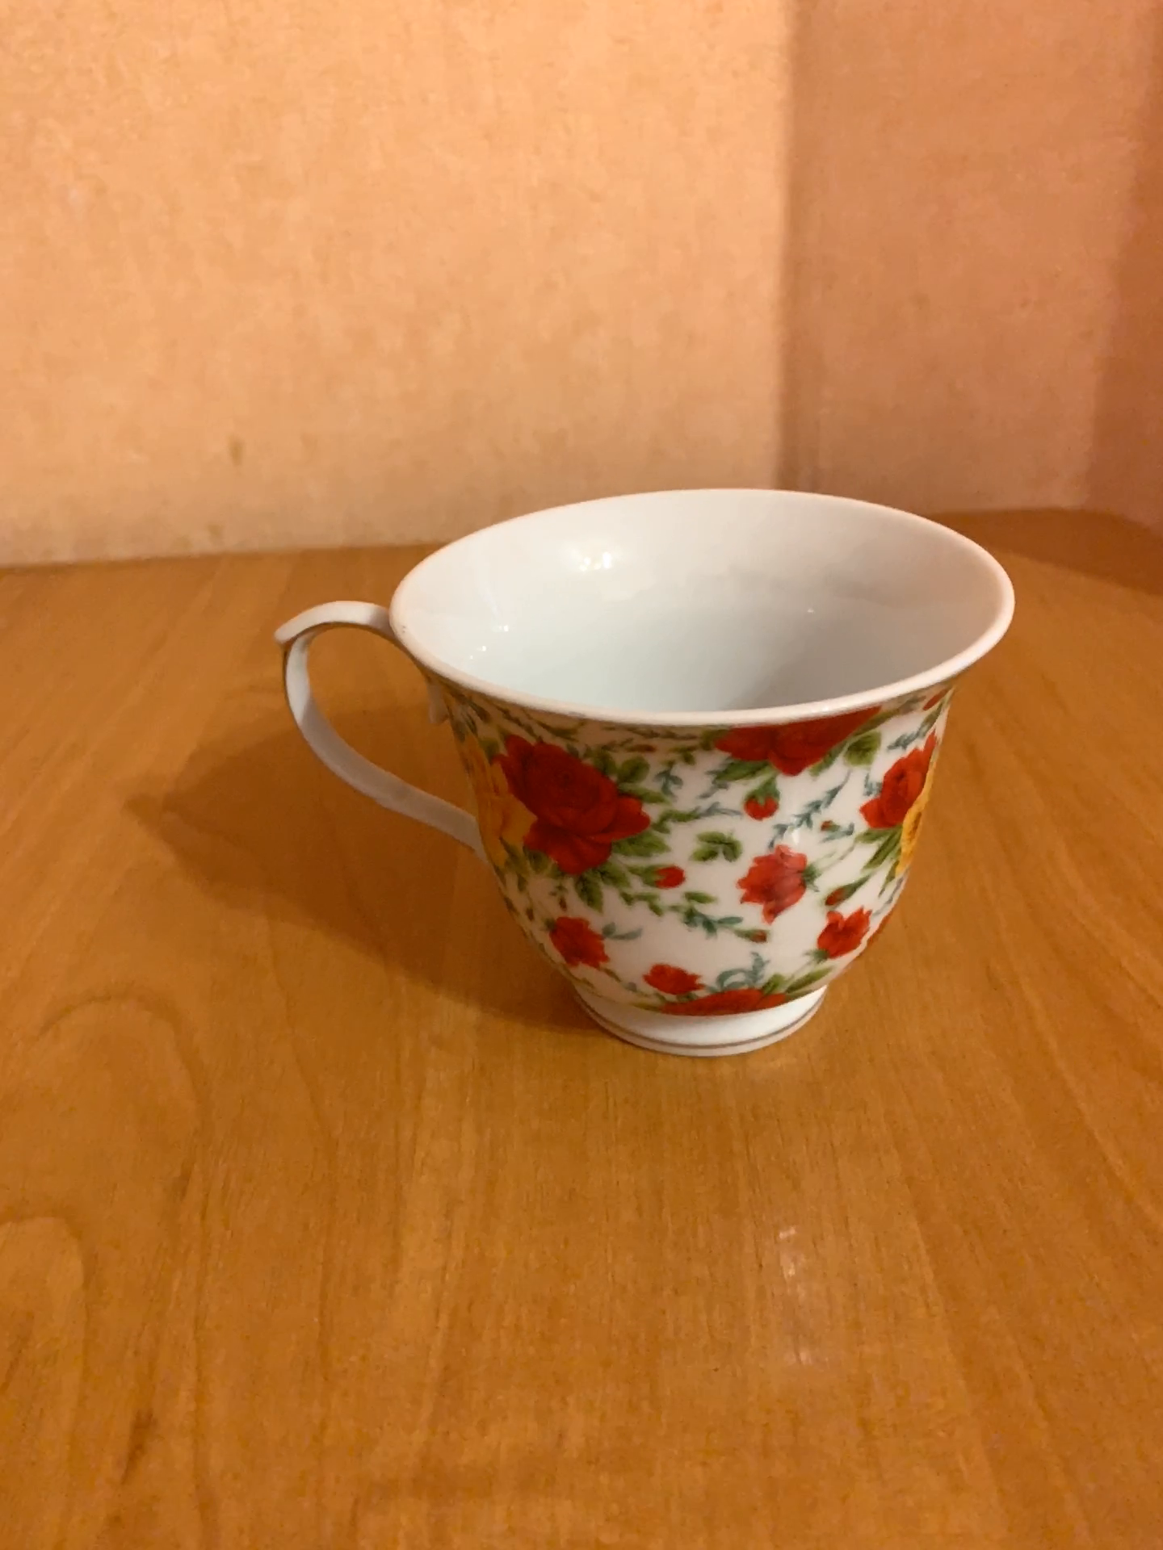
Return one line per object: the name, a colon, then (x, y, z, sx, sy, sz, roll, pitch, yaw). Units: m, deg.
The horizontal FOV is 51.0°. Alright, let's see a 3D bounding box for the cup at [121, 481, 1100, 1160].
cup: (0.009, -0.002, 0.207, 0.120, 0.067, 0.100, 2, 30, 9)
